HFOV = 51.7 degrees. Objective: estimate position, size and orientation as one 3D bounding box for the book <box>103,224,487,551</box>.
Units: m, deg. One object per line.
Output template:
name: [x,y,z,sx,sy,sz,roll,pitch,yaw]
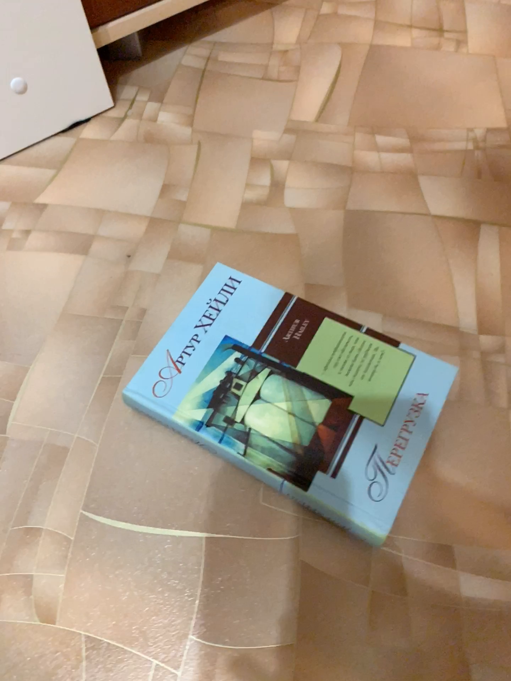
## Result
book: [0.028,0.020,0.369,0.210,0.040,0.151,25,66,16]
